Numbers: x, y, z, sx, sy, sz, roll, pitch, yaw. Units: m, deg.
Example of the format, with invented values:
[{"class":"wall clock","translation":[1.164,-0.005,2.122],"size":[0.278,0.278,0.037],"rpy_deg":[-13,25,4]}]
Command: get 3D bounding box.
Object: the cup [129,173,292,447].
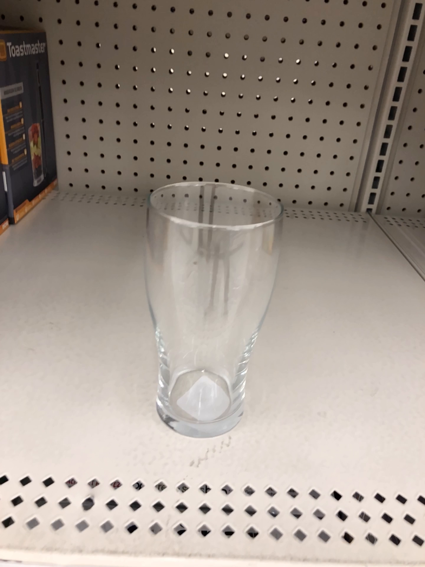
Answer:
[{"class":"cup","translation":[-0.001,0.014,0.294],"size":[0.076,0.138,0.081],"rpy_deg":[3,28,-2]}]
